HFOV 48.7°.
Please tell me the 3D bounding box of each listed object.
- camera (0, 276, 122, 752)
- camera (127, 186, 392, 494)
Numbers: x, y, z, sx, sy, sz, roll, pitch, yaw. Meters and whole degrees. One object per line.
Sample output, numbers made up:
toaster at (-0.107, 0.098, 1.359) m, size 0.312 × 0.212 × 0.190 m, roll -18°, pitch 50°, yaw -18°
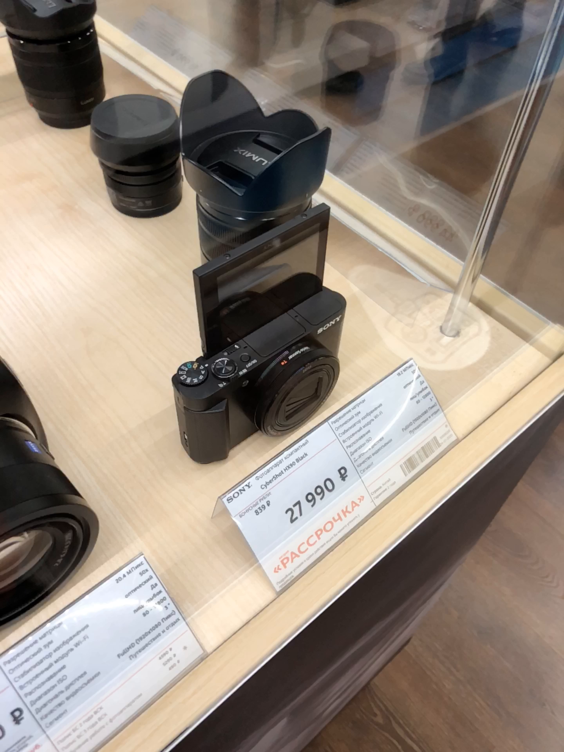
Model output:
camera at (-0.168, 0.051, 0.265) m, size 0.132 × 0.078 × 0.136 m, roll -33°, pitch 59°, yaw -26°
camera at (-0.009, -0.015, 0.297) m, size 0.100 × 0.107 × 0.050 m, roll -33°, pitch 60°, yaw -26°
